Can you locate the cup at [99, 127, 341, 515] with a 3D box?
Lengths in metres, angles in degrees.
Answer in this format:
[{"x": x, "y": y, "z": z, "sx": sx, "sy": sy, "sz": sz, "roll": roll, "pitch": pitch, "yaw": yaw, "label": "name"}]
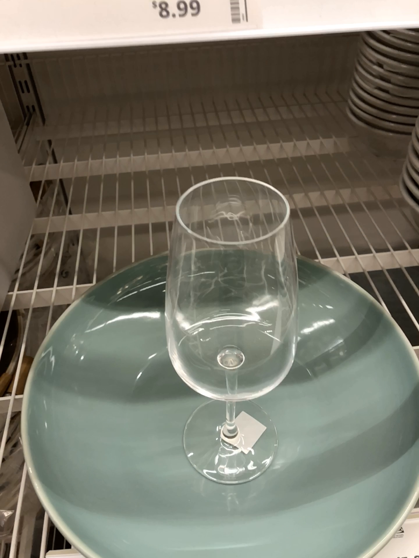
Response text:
[{"x": 0.015, "y": 0.049, "z": 0.345, "sx": 0.100, "sy": 0.279, "sz": 0.100, "roll": -1, "pitch": 42, "yaw": 1, "label": "cup"}]
